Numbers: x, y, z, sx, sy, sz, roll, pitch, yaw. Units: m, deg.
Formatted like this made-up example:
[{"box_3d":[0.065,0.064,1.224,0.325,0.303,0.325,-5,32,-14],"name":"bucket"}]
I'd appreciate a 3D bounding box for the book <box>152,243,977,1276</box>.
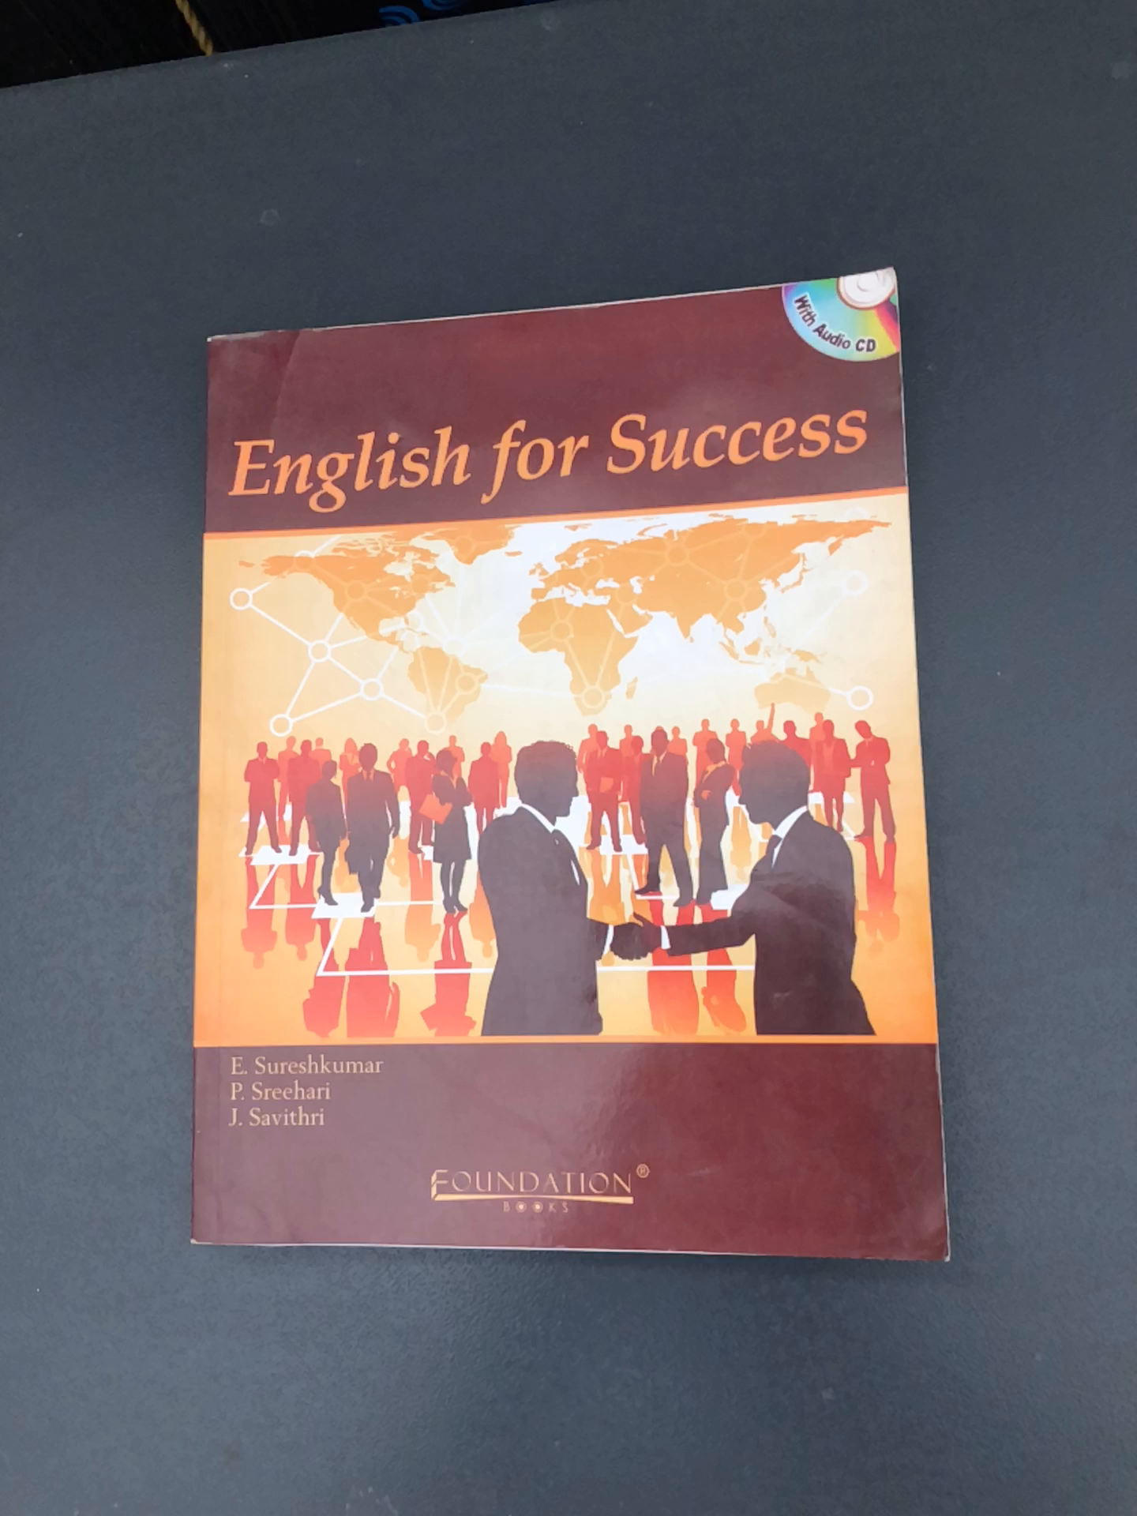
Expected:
[{"box_3d":[-0.006,0.000,0.318,0.190,0.030,0.240,-3,82,8],"name":"book"}]
